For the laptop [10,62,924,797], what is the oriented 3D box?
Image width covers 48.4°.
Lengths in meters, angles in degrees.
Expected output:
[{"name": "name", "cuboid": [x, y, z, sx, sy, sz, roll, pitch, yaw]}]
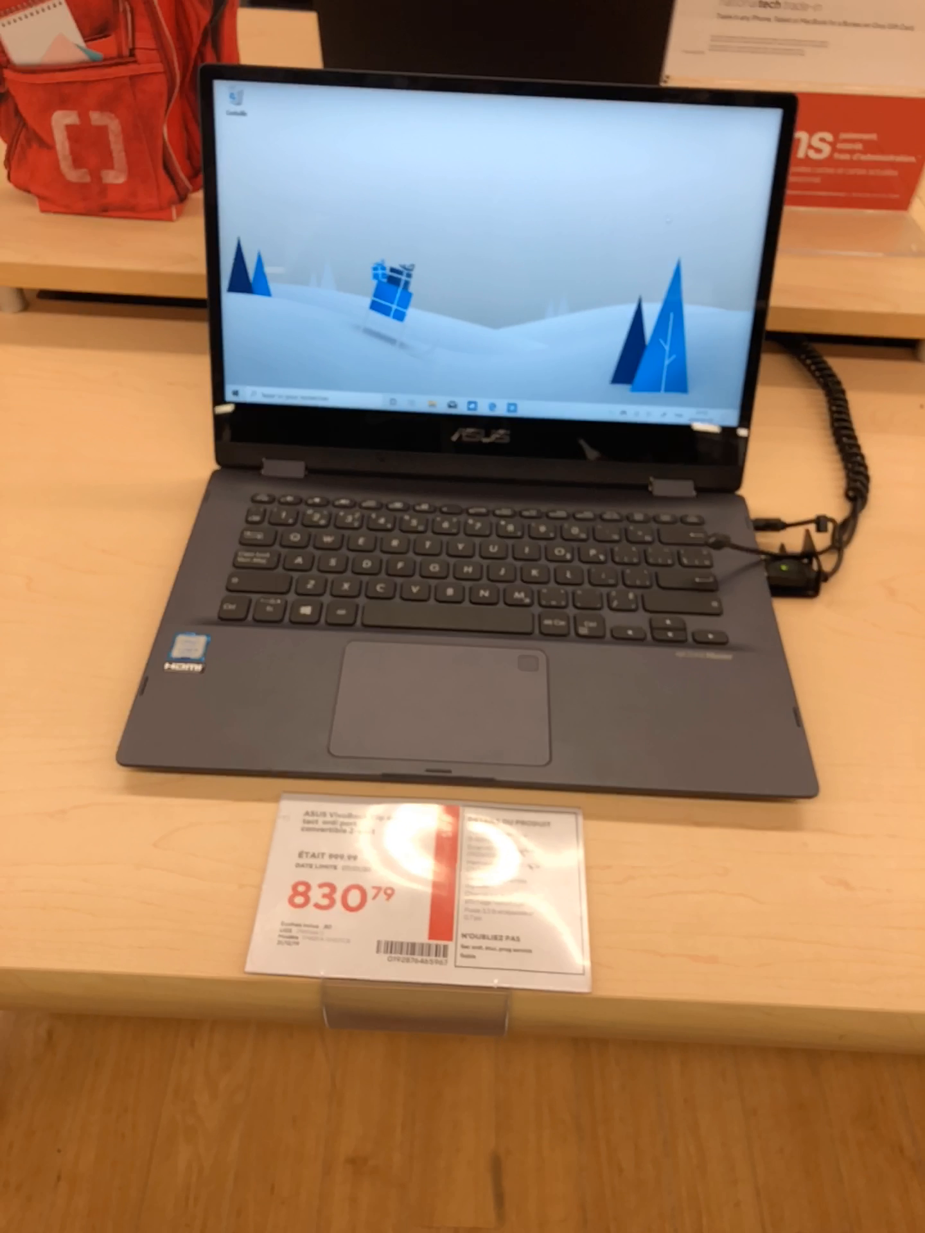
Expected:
[{"name": "laptop", "cuboid": [0.012, -0.107, 0.506, 0.312, 0.188, 0.314, 3, 46, 0]}]
